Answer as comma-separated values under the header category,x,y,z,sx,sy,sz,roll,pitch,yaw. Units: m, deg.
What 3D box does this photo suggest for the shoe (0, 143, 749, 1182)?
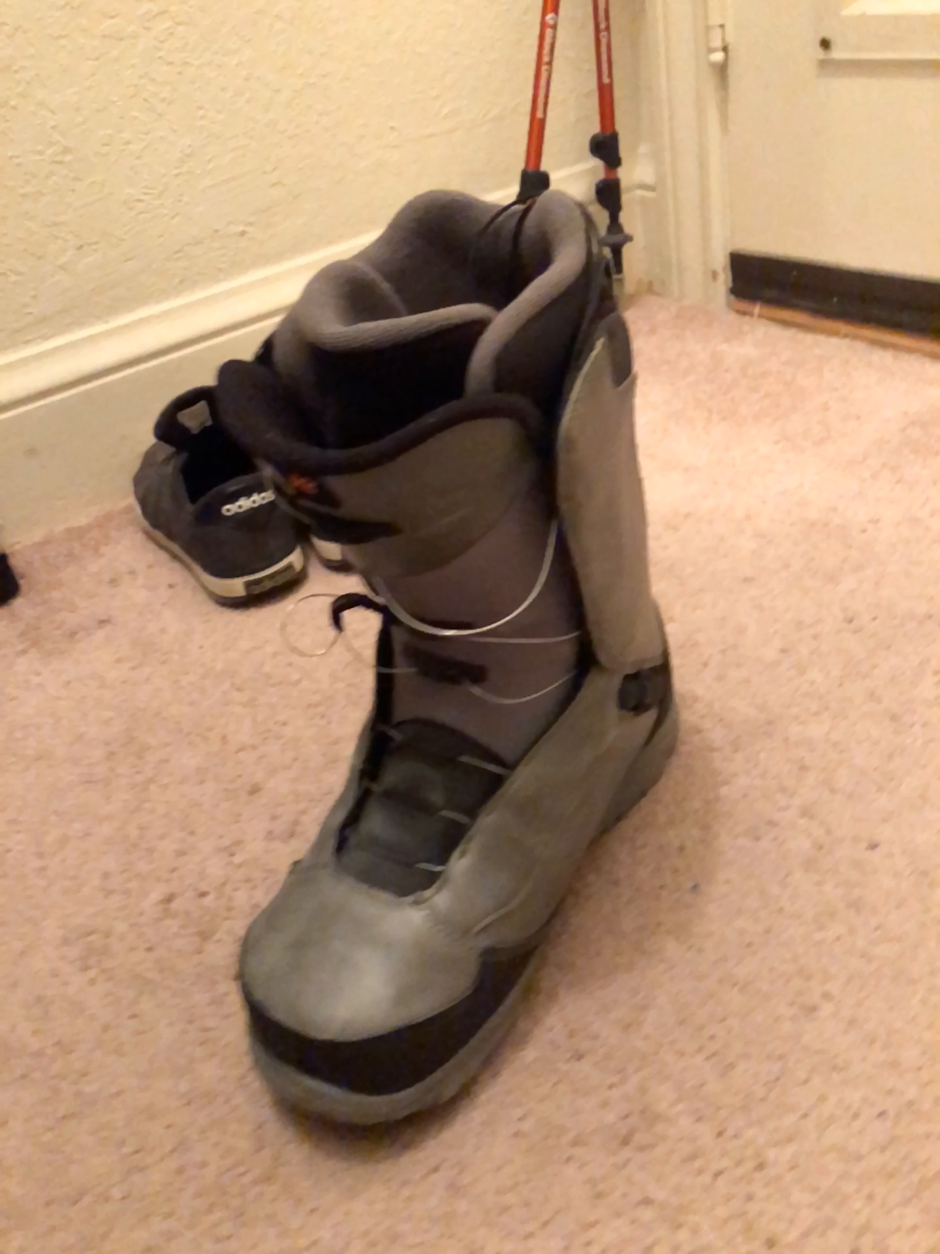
category,x,y,z,sx,sy,sz,roll,pitch,yaw
shoe,-0.018,-0.005,0.415,0.137,0.282,0.274,17,44,36

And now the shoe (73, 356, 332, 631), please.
category,x,y,z,sx,sy,sz,roll,pitch,yaw
shoe,-0.218,-0.117,0.813,0.087,0.107,0.284,-26,36,-20

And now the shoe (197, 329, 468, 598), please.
category,x,y,z,sx,sy,sz,roll,pitch,yaw
shoe,-0.127,-0.154,0.891,0.107,0.117,0.304,-21,35,-21
